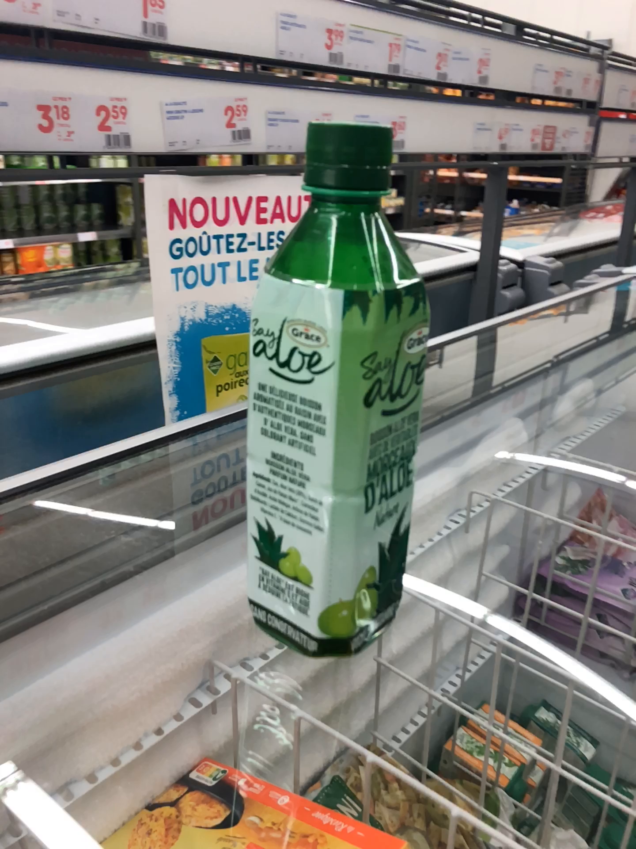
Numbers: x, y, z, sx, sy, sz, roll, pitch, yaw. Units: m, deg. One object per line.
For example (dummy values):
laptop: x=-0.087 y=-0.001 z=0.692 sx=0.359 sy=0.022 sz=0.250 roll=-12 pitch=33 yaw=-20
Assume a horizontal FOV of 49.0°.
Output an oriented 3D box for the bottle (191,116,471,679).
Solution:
bottle: x=0.004 y=-0.013 z=0.279 sx=0.070 sy=0.199 sz=0.070 roll=1 pitch=21 yaw=0
